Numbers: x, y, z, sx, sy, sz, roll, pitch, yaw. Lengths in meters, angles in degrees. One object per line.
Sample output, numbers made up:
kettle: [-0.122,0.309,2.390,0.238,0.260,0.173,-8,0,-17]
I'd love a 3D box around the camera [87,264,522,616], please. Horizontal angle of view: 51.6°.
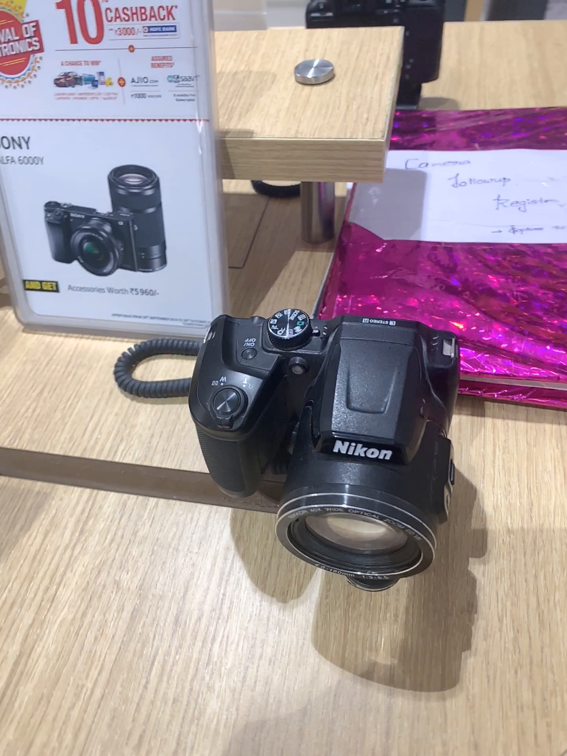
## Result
camera: [0.014,0.023,0.235,0.130,0.090,0.090,6,50,11]
